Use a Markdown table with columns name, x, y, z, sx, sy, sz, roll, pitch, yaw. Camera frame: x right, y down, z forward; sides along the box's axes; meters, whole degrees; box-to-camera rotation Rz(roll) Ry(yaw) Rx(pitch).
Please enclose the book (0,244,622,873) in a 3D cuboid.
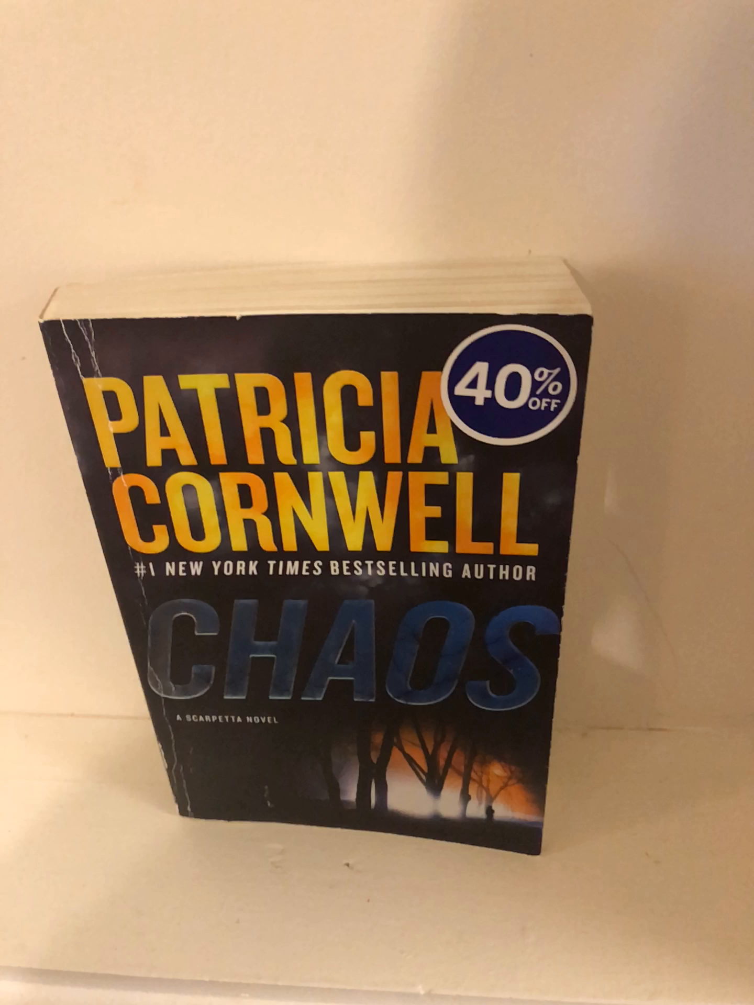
| name | x | y | z | sx | sy | sz | roll | pitch | yaw |
| --- | --- | --- | --- | --- | --- | --- | --- | --- | --- |
| book | -0.016 | 0.027 | 0.294 | 0.170 | 0.219 | 0.050 | 3 | 31 | 9 |
